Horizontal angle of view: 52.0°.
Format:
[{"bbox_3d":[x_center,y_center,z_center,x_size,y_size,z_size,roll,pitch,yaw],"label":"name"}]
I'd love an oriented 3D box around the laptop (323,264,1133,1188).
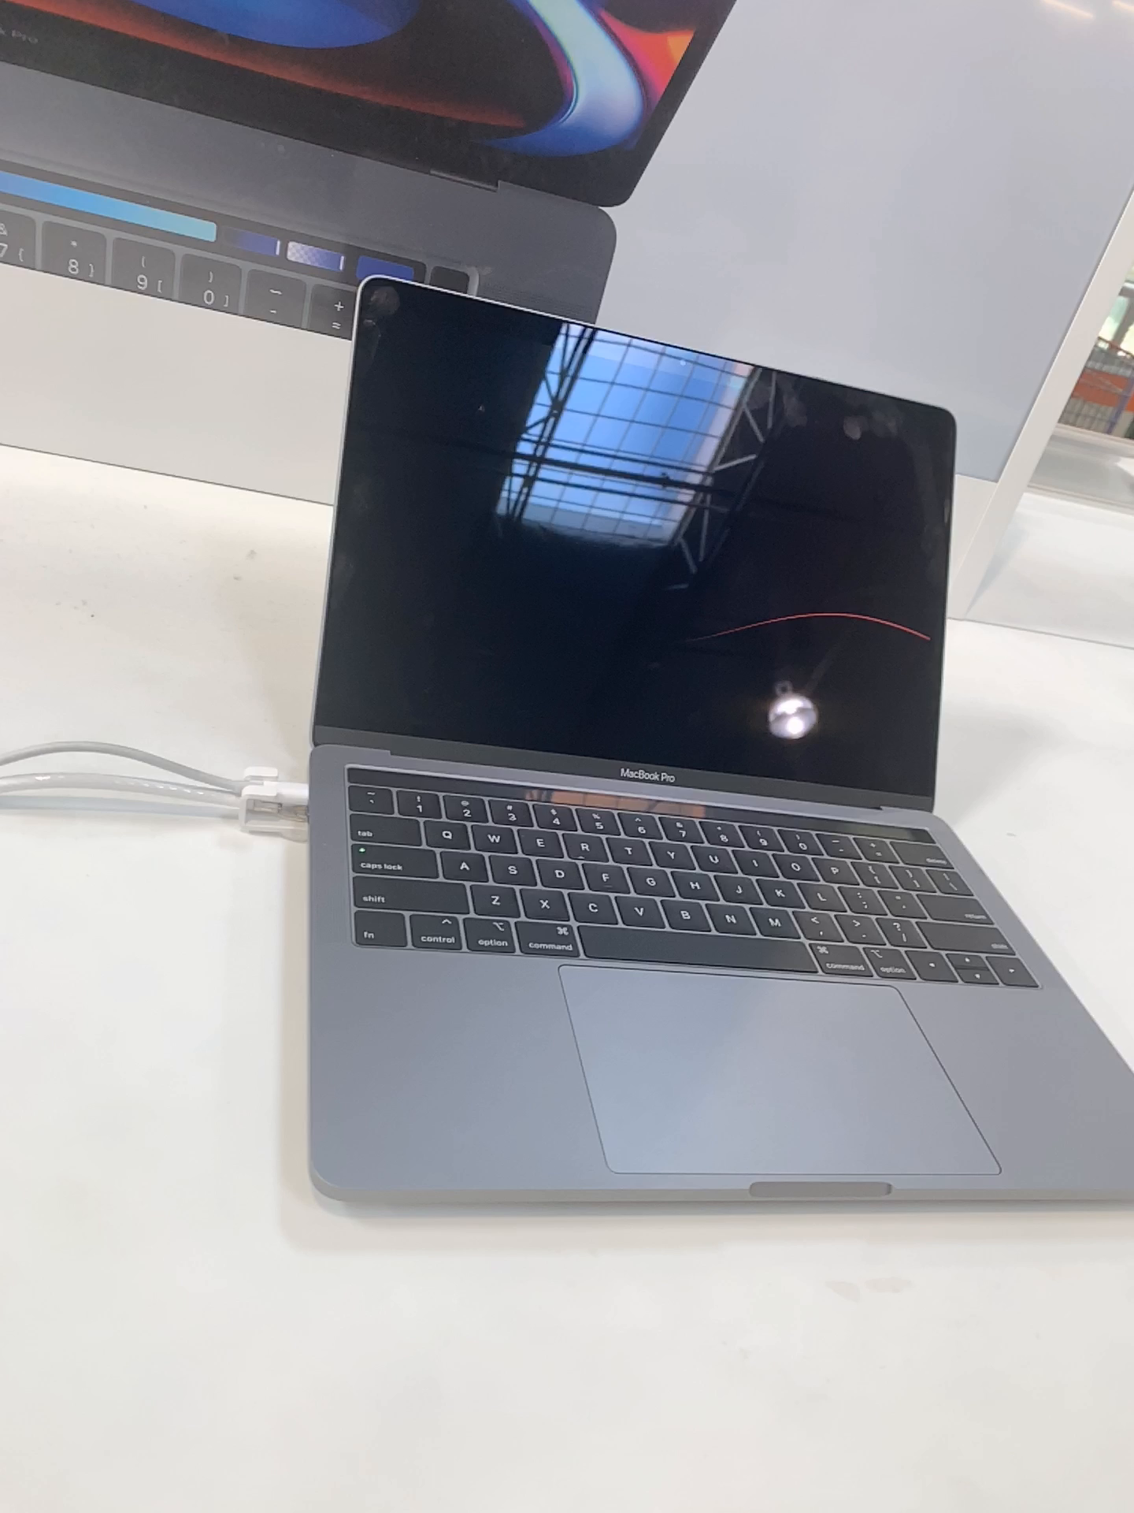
[{"bbox_3d":[0.067,-0.029,0.425,0.284,0.150,0.316,7,33,-17],"label":"laptop"}]
